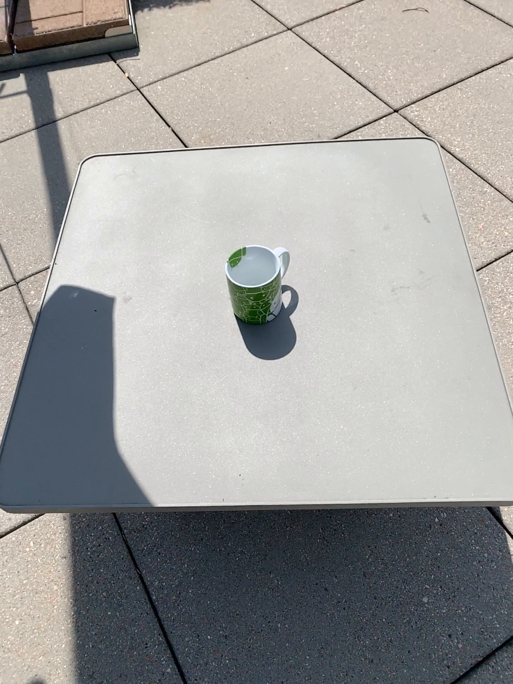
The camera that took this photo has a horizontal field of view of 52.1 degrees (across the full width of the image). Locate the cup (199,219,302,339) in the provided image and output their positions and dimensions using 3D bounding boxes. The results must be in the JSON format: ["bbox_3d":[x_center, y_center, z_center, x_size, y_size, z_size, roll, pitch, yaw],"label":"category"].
[{"bbox_3d":[-0.004,-0.091,0.755,0.090,0.090,0.120,25,63,20],"label":"cup"}]
